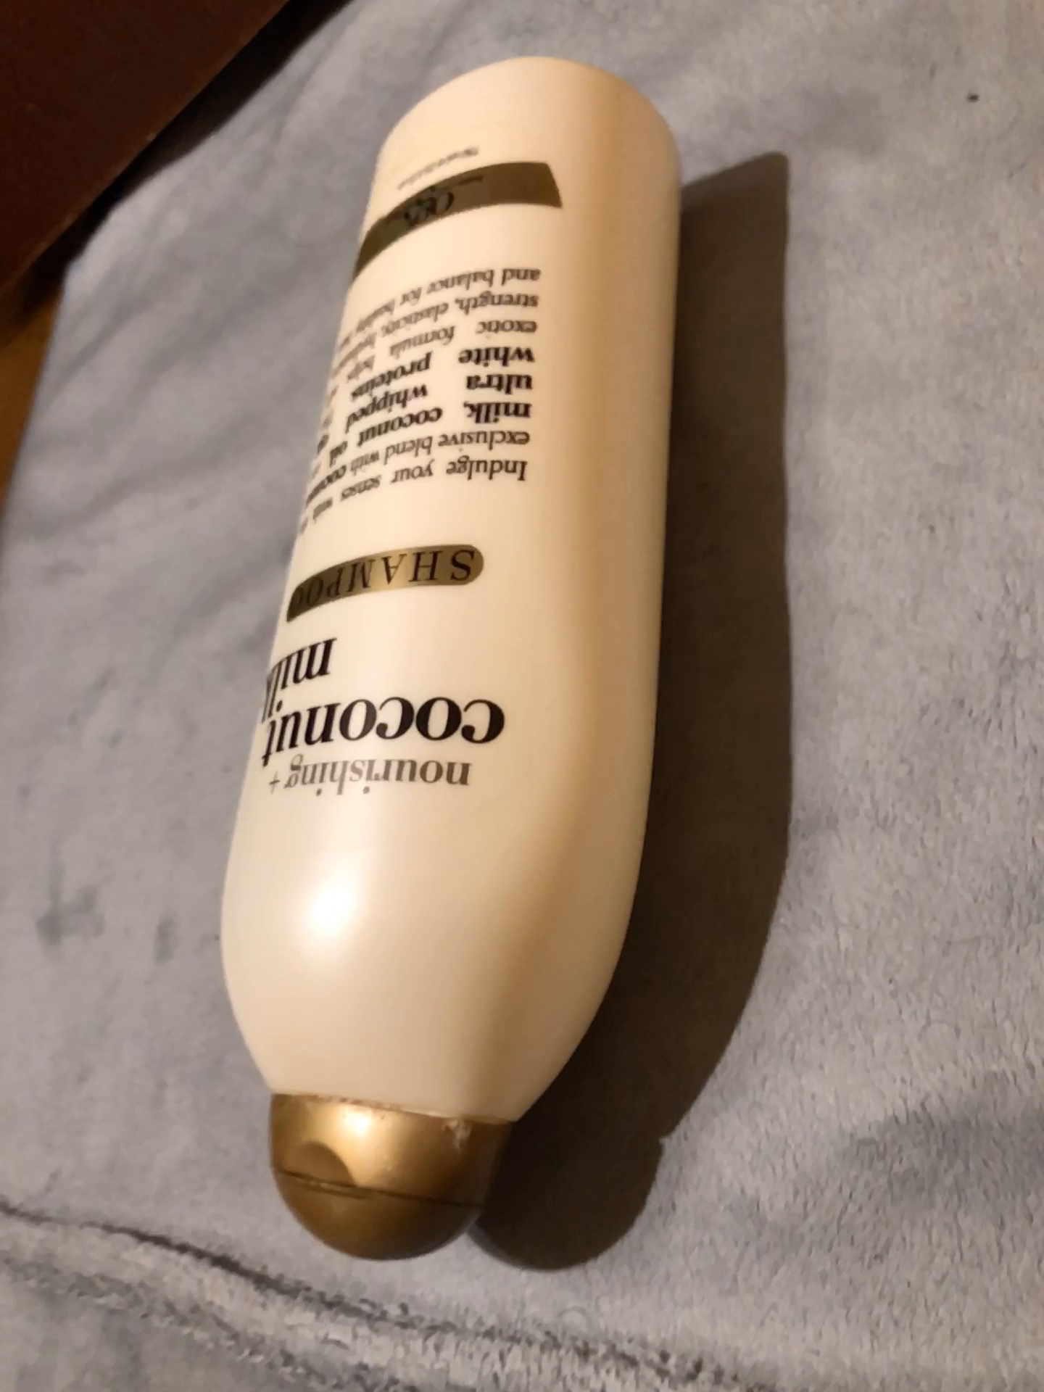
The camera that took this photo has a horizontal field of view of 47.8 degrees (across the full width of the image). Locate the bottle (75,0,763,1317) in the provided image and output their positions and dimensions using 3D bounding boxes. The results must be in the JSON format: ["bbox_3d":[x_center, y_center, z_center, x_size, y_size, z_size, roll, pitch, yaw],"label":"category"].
[{"bbox_3d":[-0.011,-0.021,0.209,0.080,0.040,0.220,-9,64,40],"label":"bottle"}]
